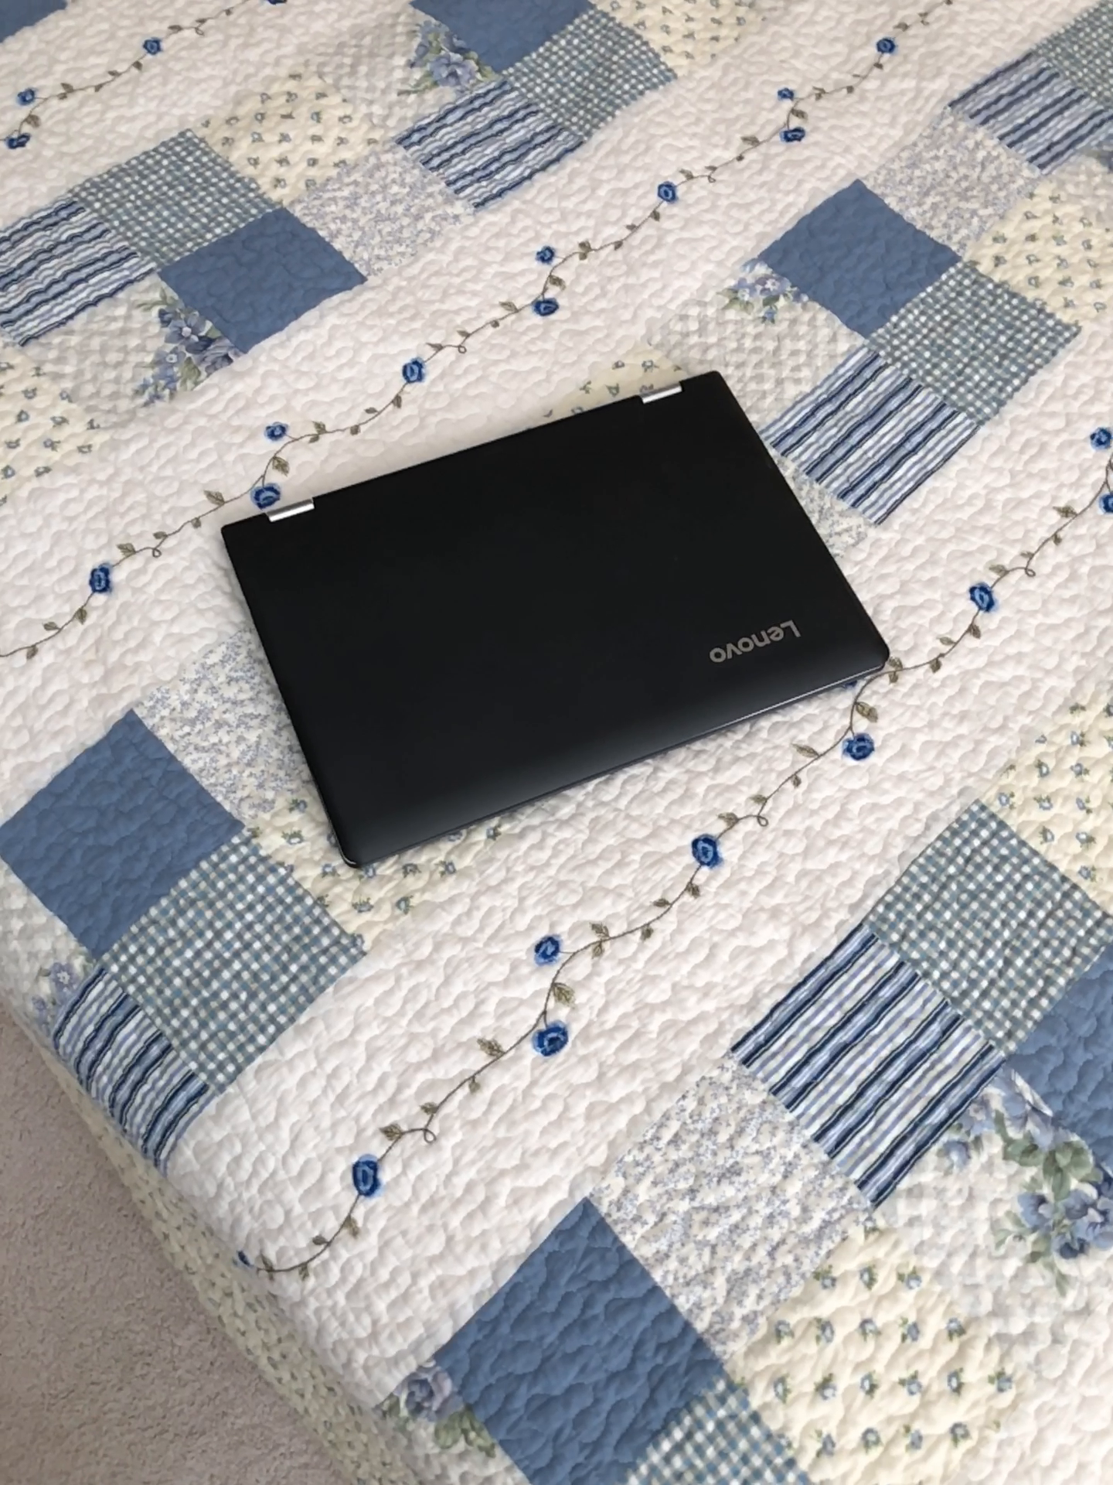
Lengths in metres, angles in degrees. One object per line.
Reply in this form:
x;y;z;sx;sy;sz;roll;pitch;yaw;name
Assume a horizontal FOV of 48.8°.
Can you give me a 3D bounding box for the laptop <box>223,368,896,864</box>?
-0.002;-0.087;0.701;0.320;0.008;0.224;-20;66;-12;laptop
